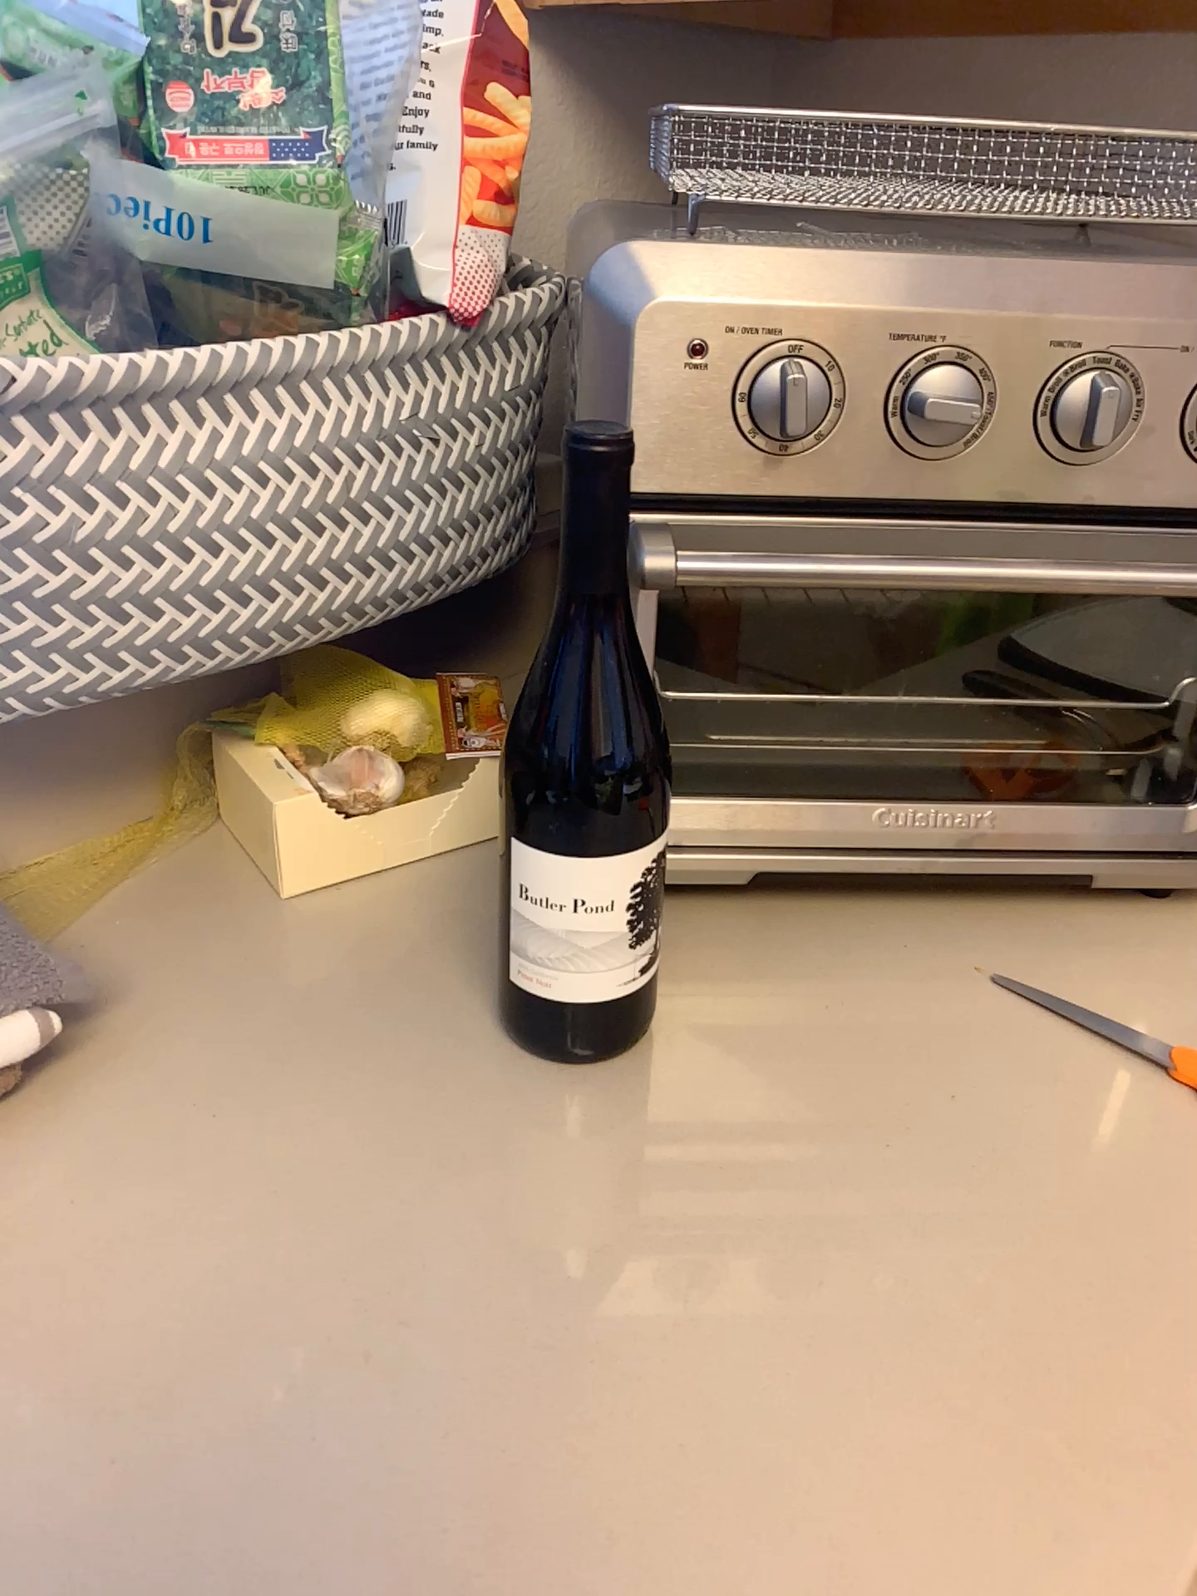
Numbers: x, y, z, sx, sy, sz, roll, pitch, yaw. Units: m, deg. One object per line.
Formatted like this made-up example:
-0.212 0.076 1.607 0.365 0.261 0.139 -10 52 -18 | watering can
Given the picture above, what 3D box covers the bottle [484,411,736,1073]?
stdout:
-0.003 -0.017 0.515 0.080 0.268 0.070 -4 28 -11 | bottle
